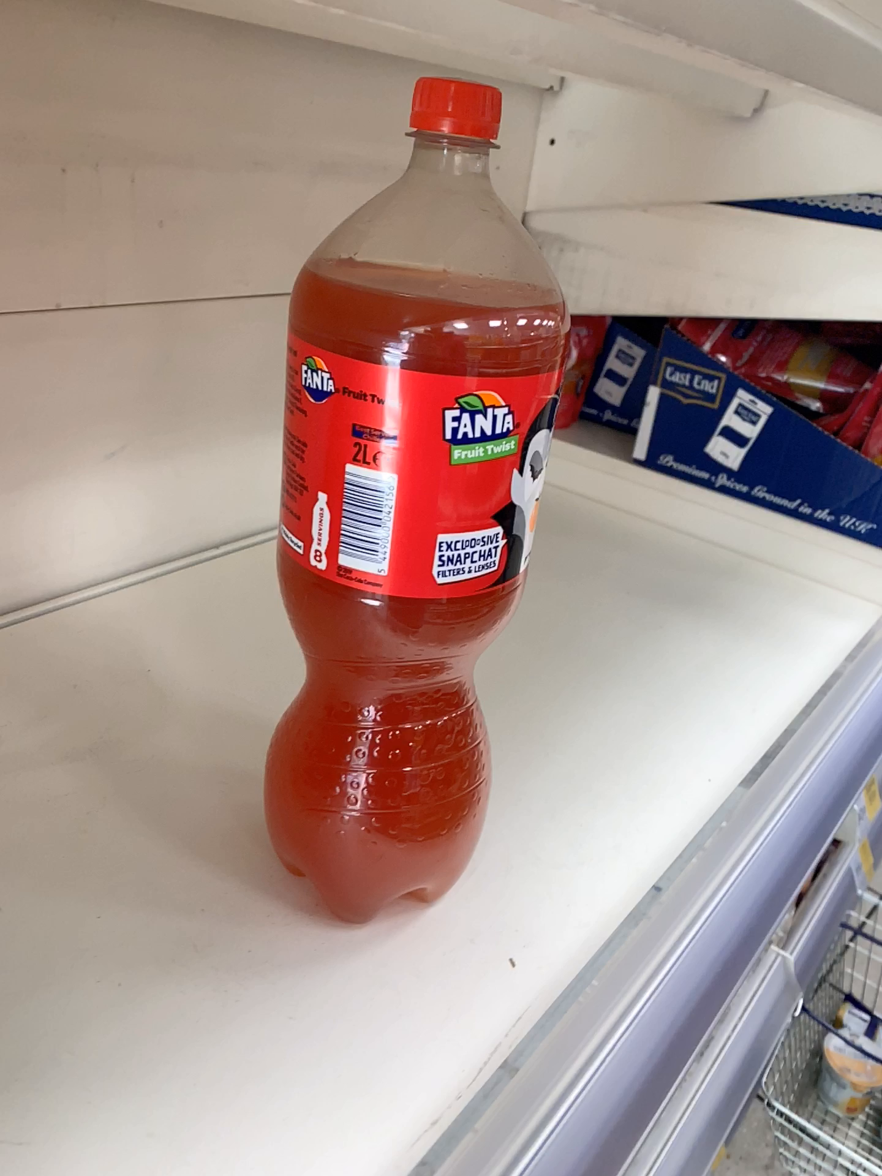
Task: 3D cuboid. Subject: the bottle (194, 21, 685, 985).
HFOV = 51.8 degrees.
[{"bbox_3d":[-0.013,-0.024,0.365,0.110,0.327,0.121,7,26,-3],"label":"bottle"}]
